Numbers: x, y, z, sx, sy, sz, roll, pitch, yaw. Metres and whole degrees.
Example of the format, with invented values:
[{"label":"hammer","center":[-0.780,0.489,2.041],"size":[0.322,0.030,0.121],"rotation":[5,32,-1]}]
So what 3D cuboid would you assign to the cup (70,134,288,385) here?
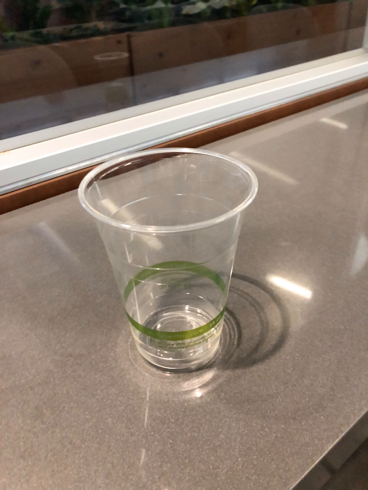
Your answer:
[{"label":"cup","center":[-0.005,0.004,0.259],"size":[0.100,0.109,0.101],"rotation":[-2,34,2]}]
